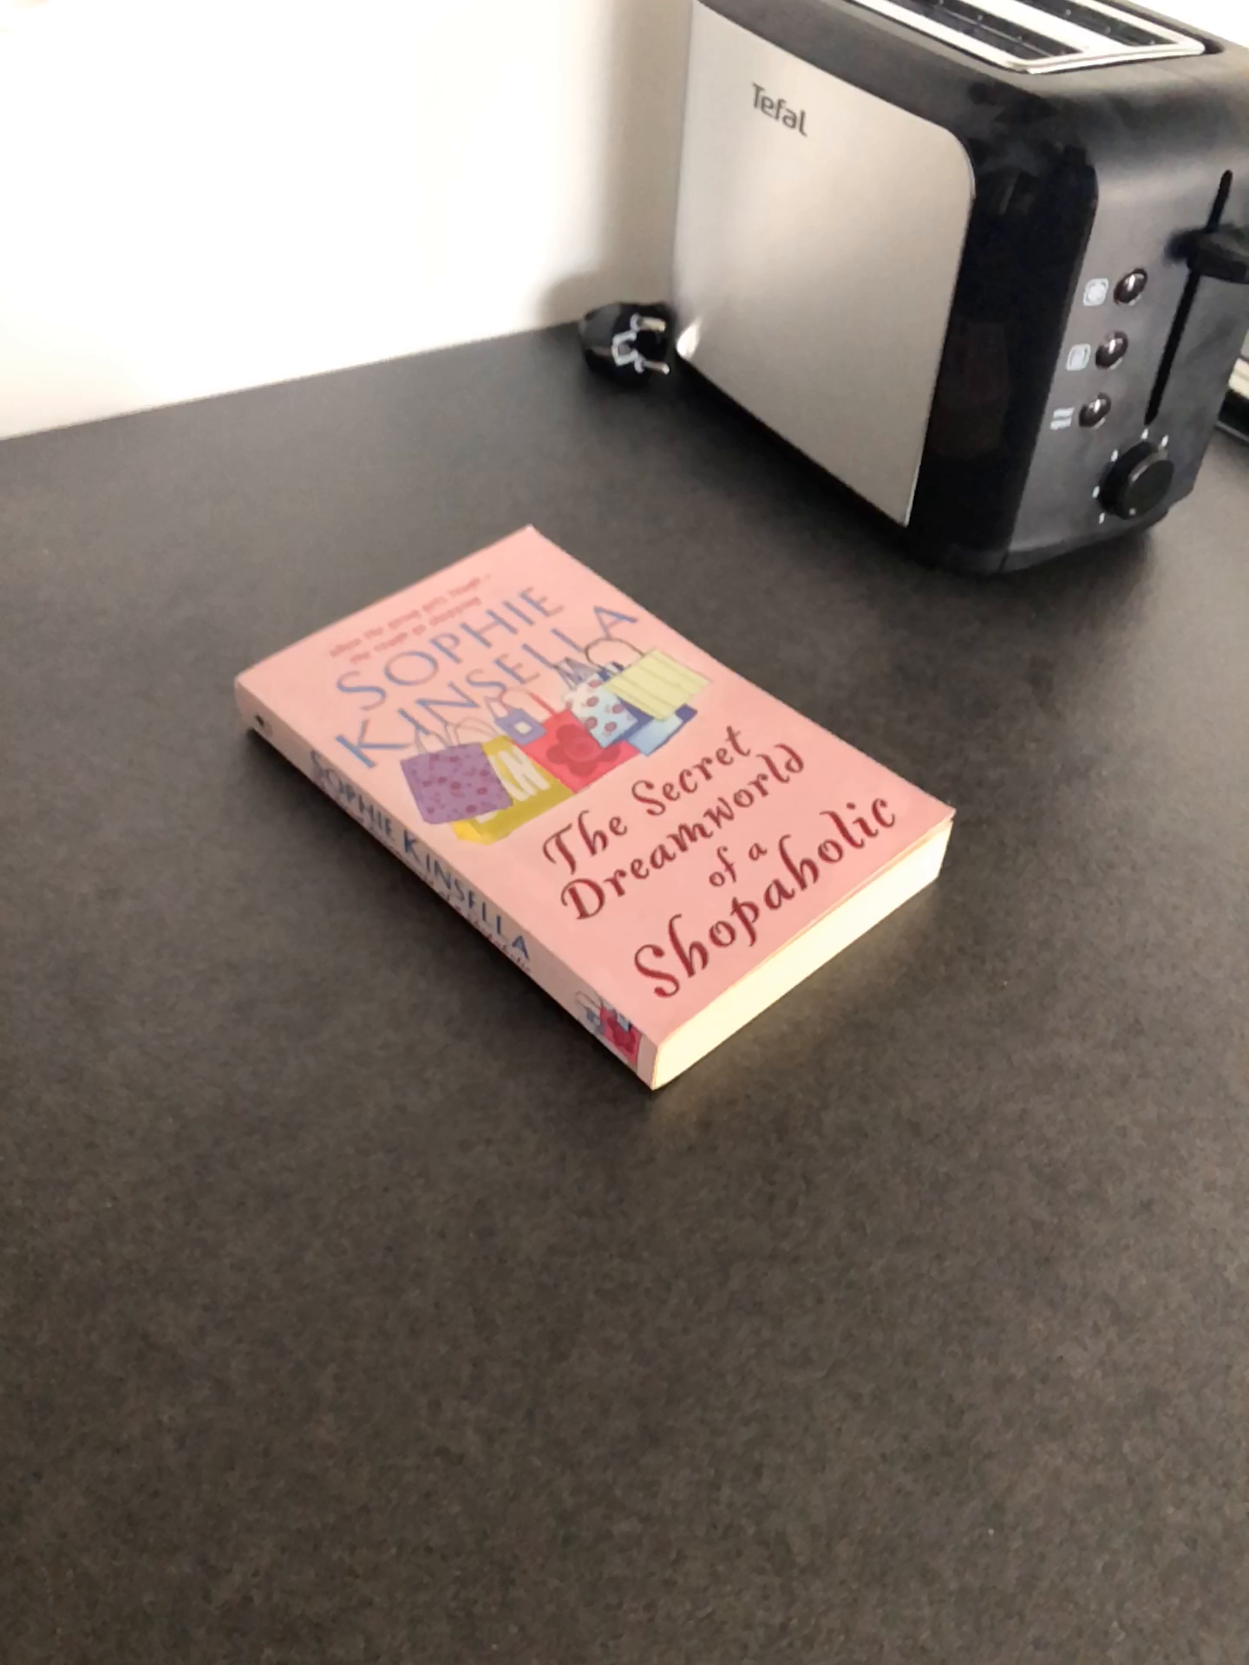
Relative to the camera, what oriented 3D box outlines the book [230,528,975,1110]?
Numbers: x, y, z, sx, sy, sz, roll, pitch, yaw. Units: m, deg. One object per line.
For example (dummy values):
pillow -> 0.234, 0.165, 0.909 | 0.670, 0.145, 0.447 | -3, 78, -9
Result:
book -> -0.011, -0.020, 0.441 | 0.131, 0.030, 0.200 | -33, 55, -32
